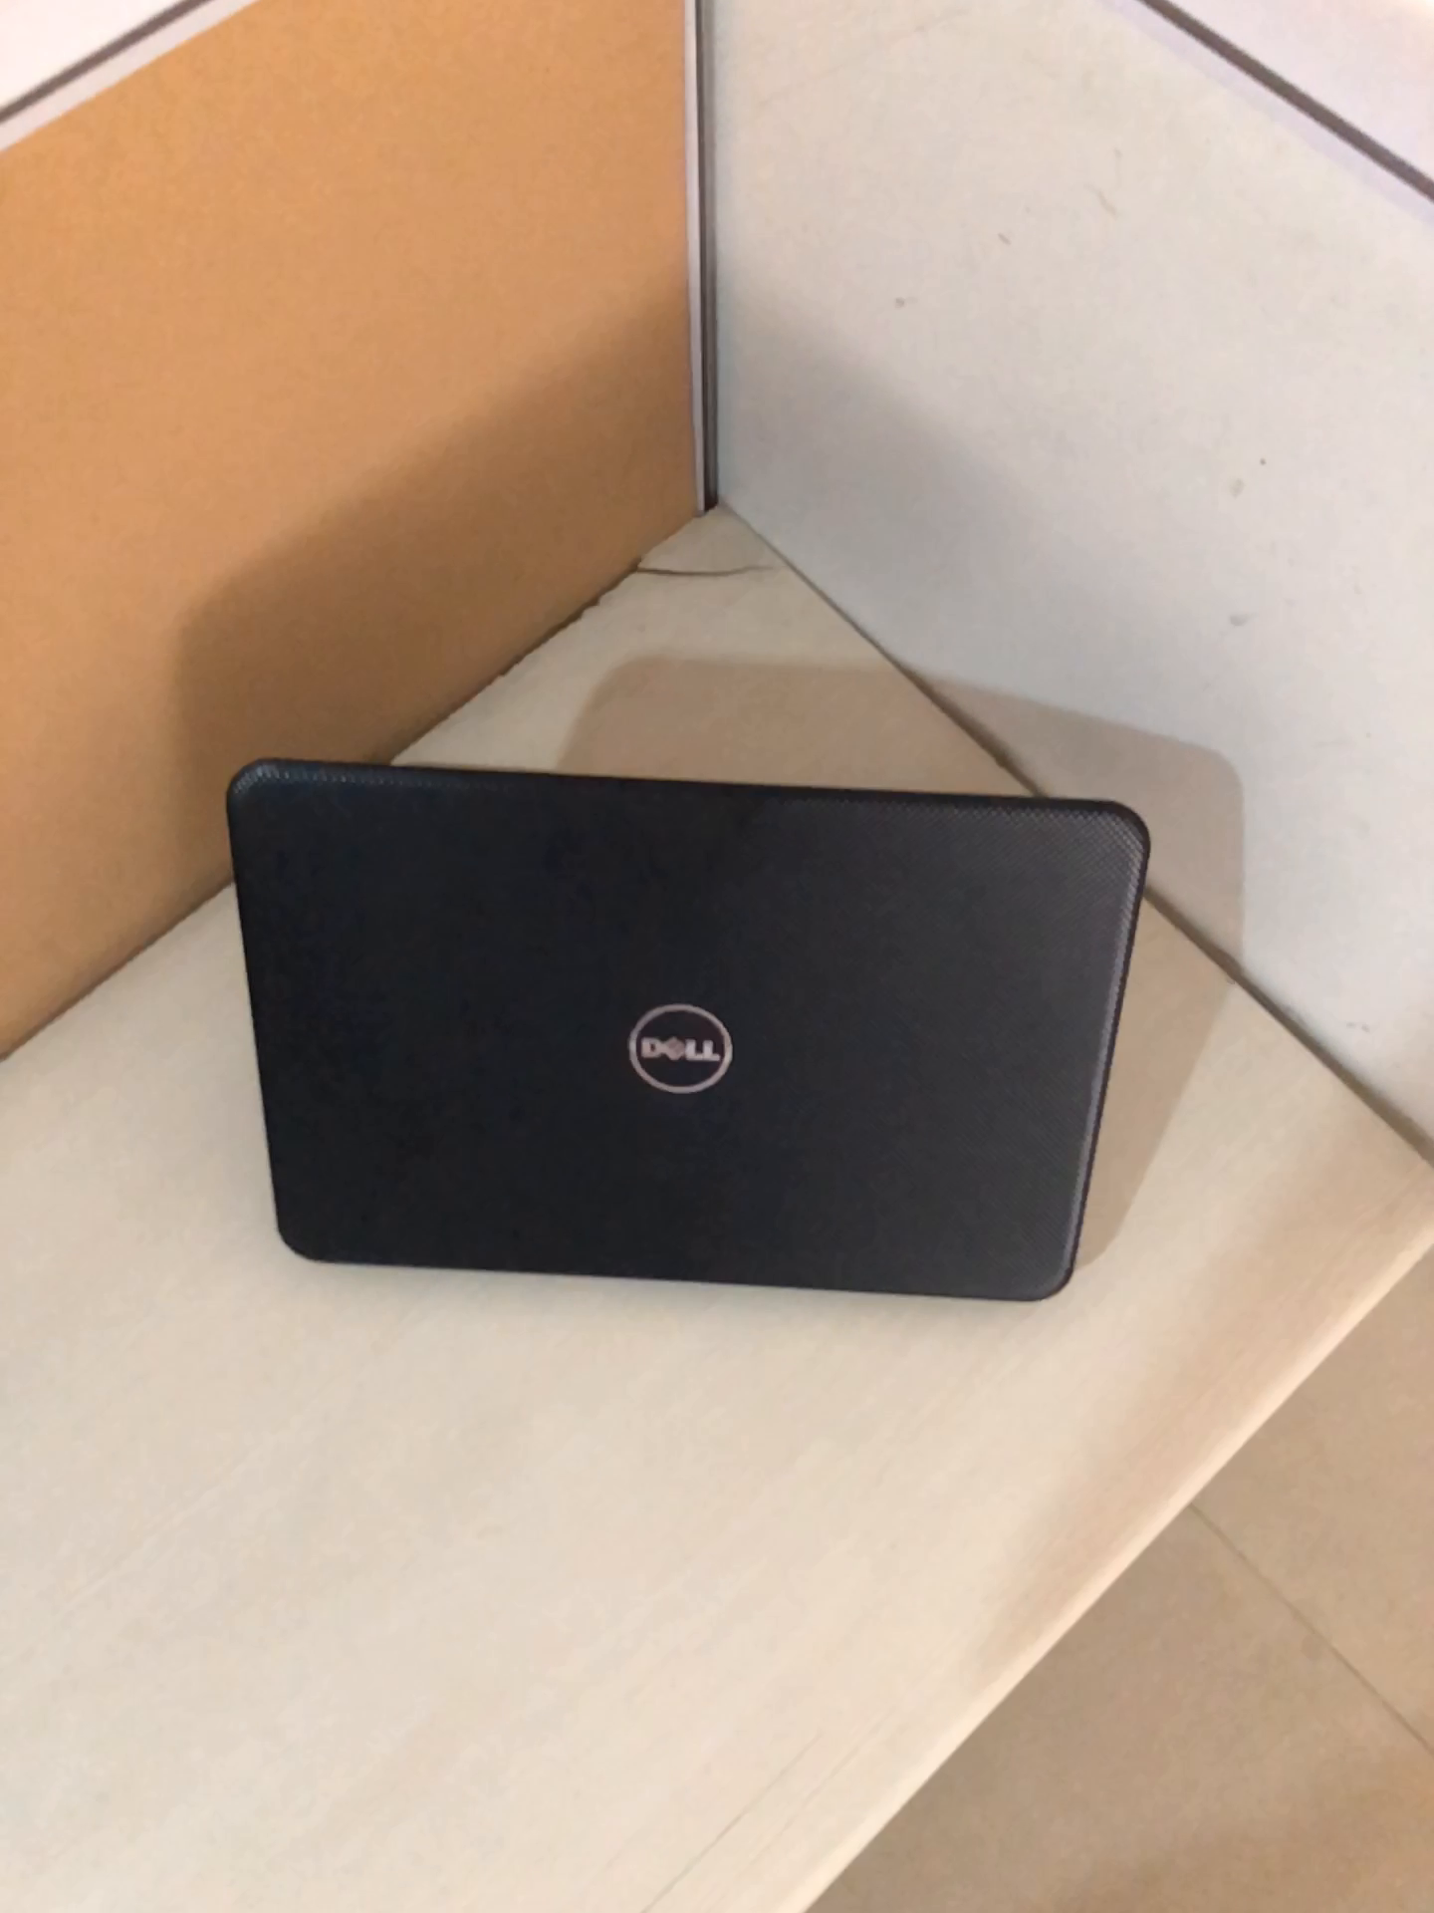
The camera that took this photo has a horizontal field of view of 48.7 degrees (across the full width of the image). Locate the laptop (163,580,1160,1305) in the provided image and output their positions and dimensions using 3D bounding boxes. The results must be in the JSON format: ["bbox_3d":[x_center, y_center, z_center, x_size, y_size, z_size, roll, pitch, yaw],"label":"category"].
[{"bbox_3d":[-0.012,0.003,0.692,0.351,0.180,0.255,3,68,-1],"label":"laptop"}]
